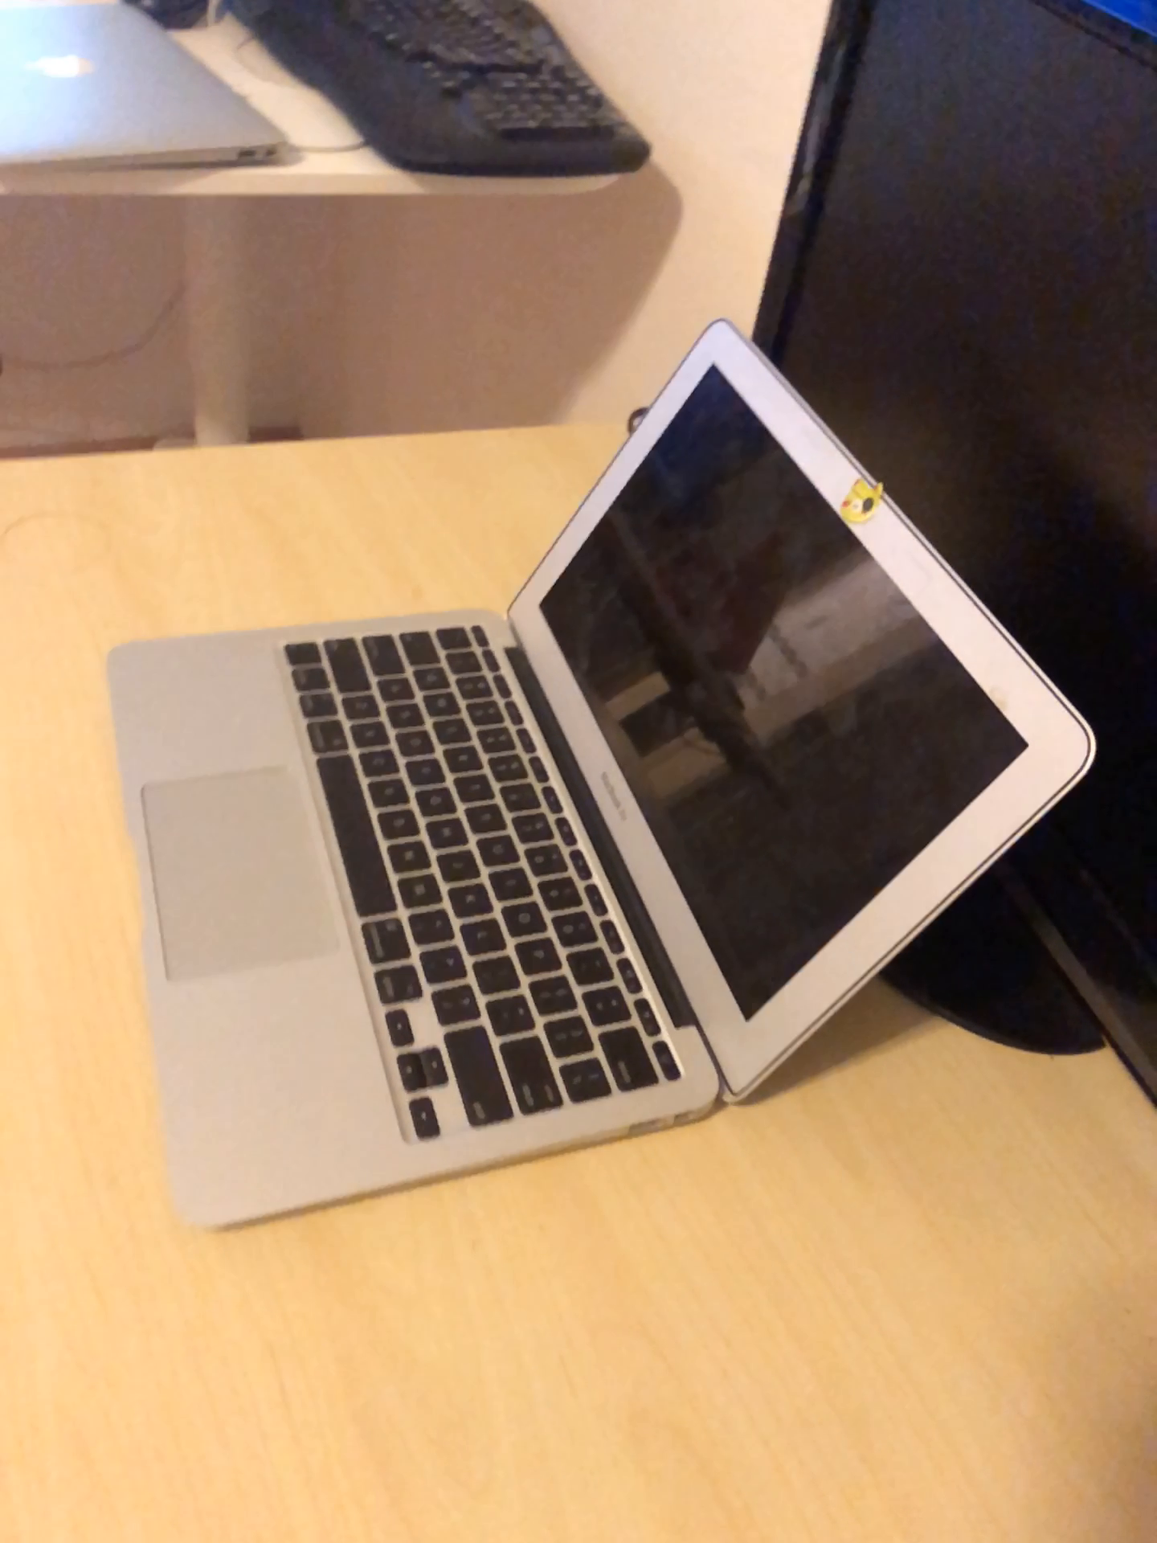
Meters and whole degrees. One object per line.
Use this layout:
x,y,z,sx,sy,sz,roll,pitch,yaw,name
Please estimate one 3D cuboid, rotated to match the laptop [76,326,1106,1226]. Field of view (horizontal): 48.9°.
-0.028,-0.028,0.492,0.274,0.161,0.292,-7,46,-19,laptop
